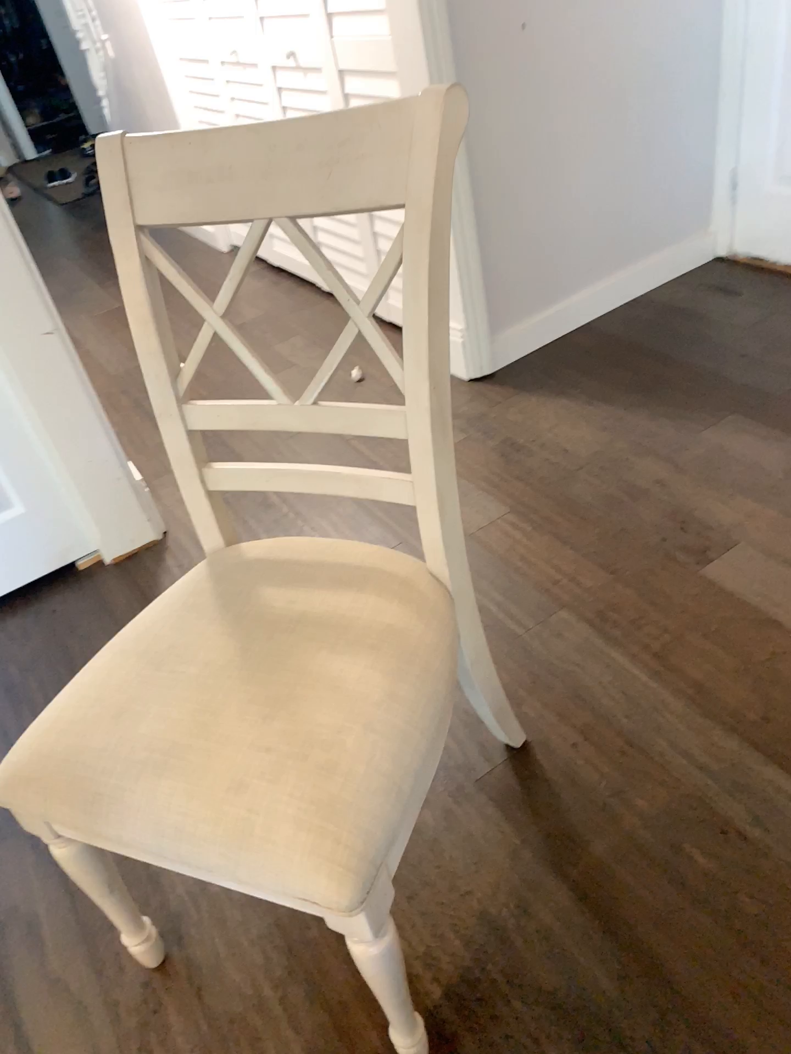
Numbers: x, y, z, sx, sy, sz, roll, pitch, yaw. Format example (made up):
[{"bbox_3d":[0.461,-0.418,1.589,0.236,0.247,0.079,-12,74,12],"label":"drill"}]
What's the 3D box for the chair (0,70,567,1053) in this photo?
[{"bbox_3d":[-0.168,0.096,0.940,0.531,0.924,0.653,6,42,24],"label":"chair"}]
